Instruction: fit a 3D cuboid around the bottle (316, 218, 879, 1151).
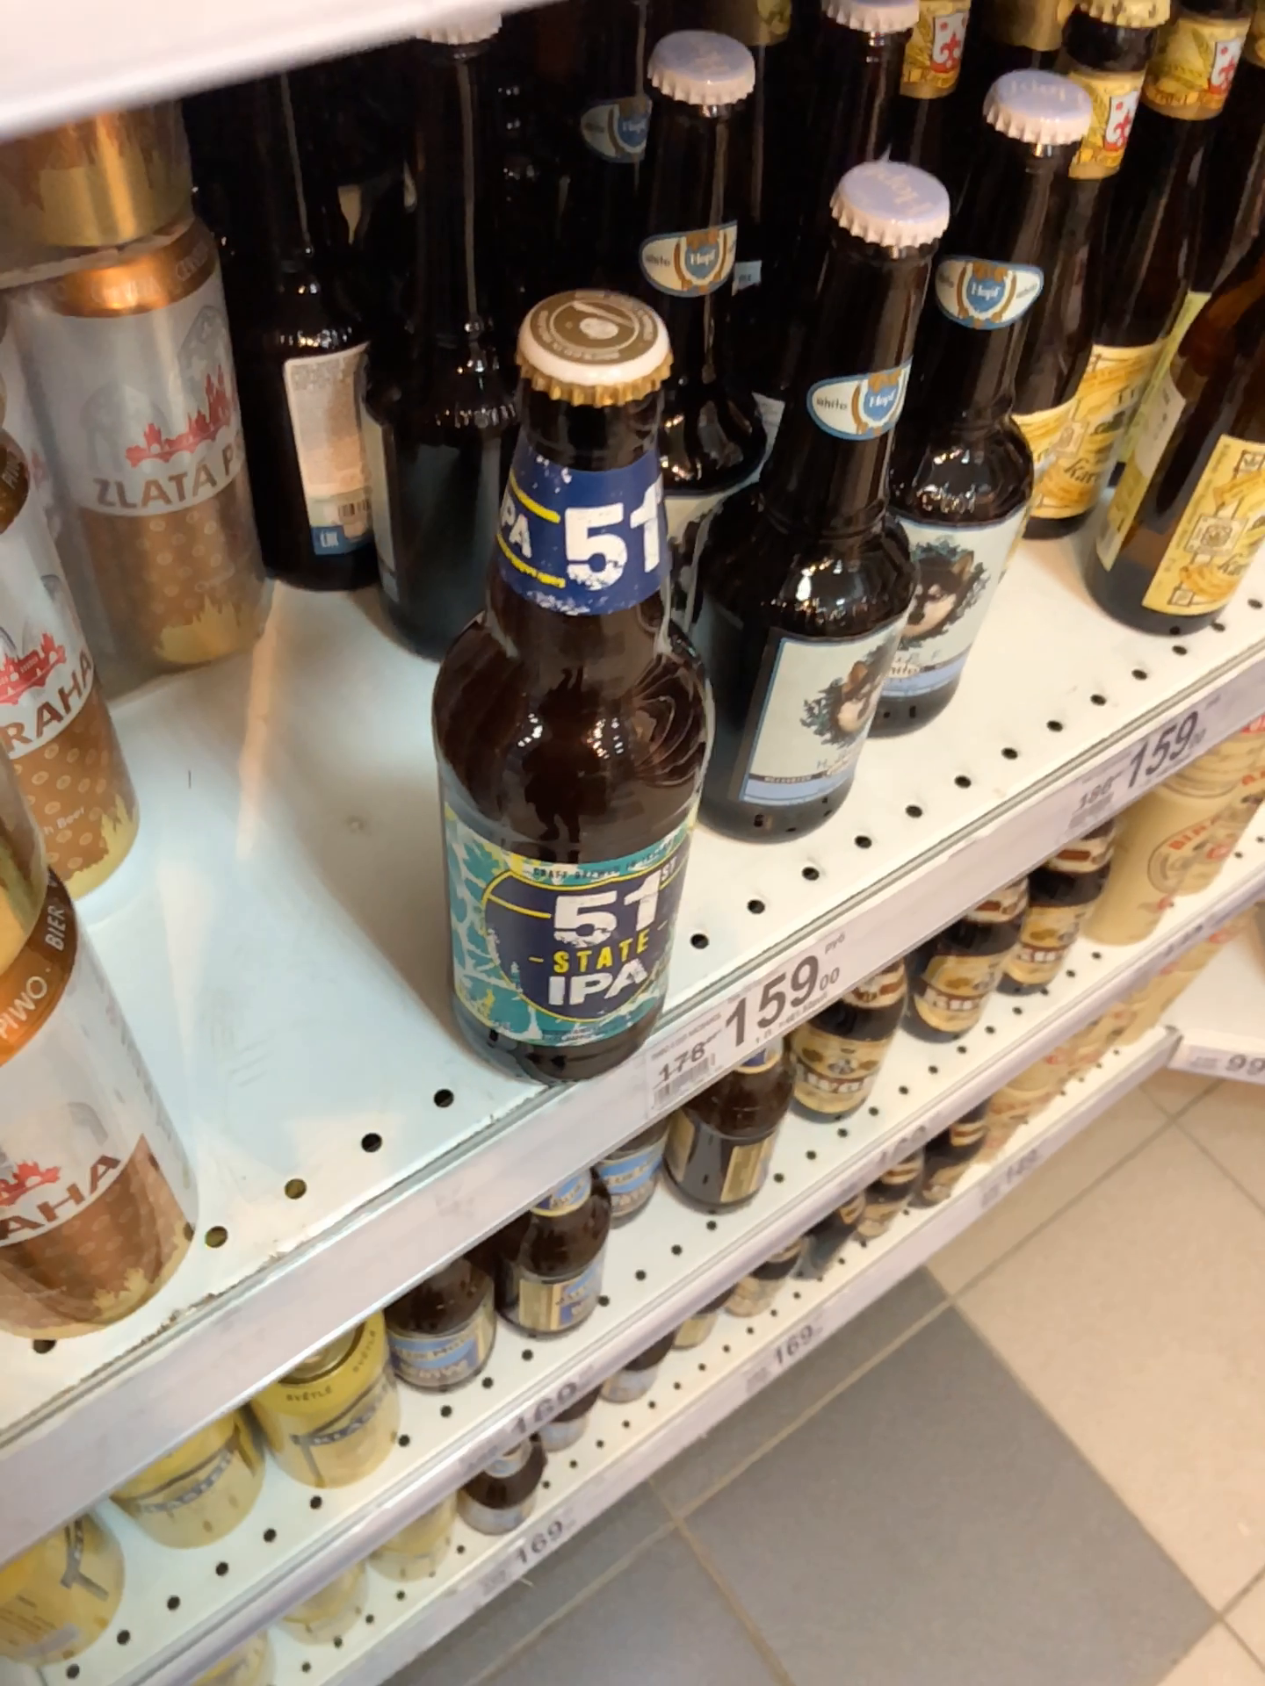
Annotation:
[{"bbox_3d":[-0.018,-0.018,0.352,0.080,0.239,0.070,-21,59,-21],"label":"bottle"}]
